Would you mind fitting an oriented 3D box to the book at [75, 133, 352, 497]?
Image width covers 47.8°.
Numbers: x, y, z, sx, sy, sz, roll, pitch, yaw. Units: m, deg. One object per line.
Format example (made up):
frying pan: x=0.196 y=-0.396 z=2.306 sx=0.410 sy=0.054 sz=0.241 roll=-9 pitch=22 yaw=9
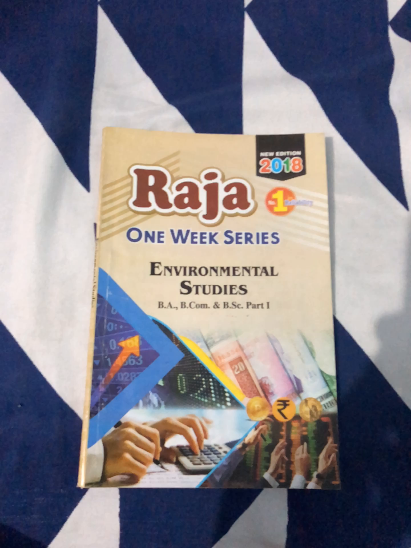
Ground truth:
book: x=0.005 y=0.015 z=0.261 sx=0.140 sy=0.010 sz=0.200 roll=1 pitch=78 yaw=1
